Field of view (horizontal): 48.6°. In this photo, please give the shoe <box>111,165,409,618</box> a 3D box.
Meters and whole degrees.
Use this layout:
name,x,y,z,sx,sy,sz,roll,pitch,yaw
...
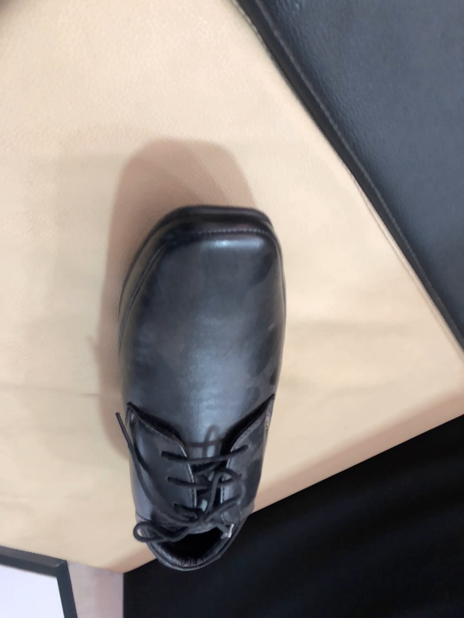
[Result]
name,x,y,z,sx,sy,sz,roll,pitch,yaw
shoe,-0.016,0.071,0.270,0.090,0.079,0.271,1,134,-13
